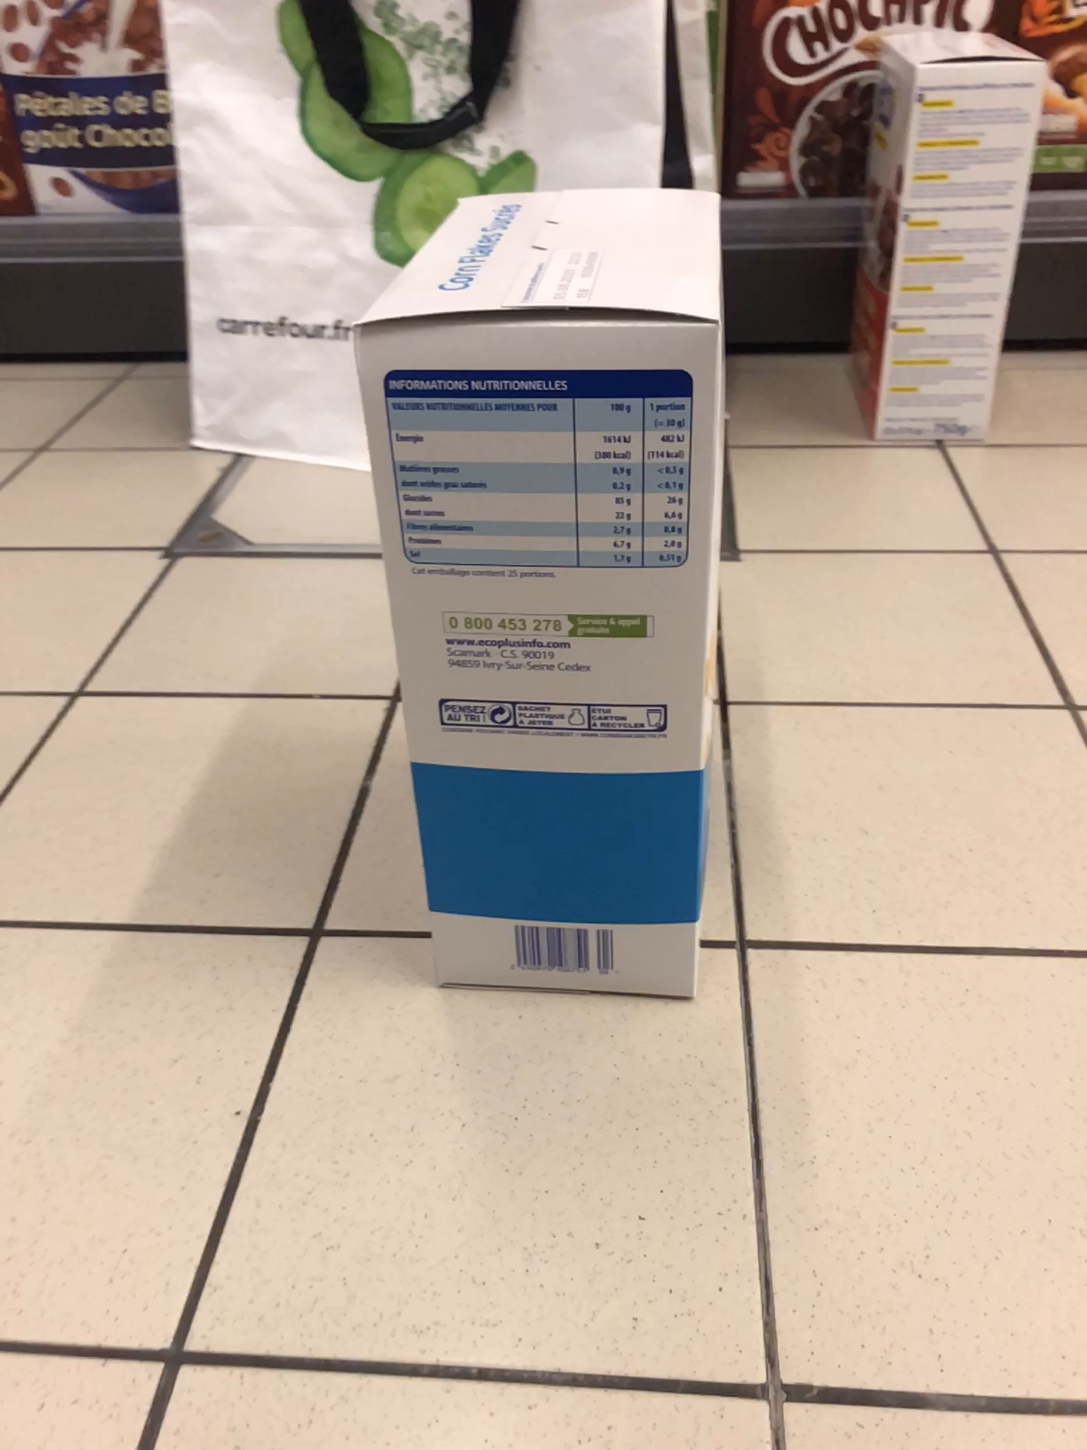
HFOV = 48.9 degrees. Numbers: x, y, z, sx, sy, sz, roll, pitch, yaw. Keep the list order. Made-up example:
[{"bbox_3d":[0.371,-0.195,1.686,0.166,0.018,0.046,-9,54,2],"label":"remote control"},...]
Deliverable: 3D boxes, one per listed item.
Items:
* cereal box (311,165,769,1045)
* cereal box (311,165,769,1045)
[{"bbox_3d":[0.020,-0.053,0.504,0.130,0.298,0.211,1,34,8],"label":"cereal box"},{"bbox_3d":[0.020,-0.053,0.504,0.130,0.298,0.211,1,34,8],"label":"cereal box"}]
